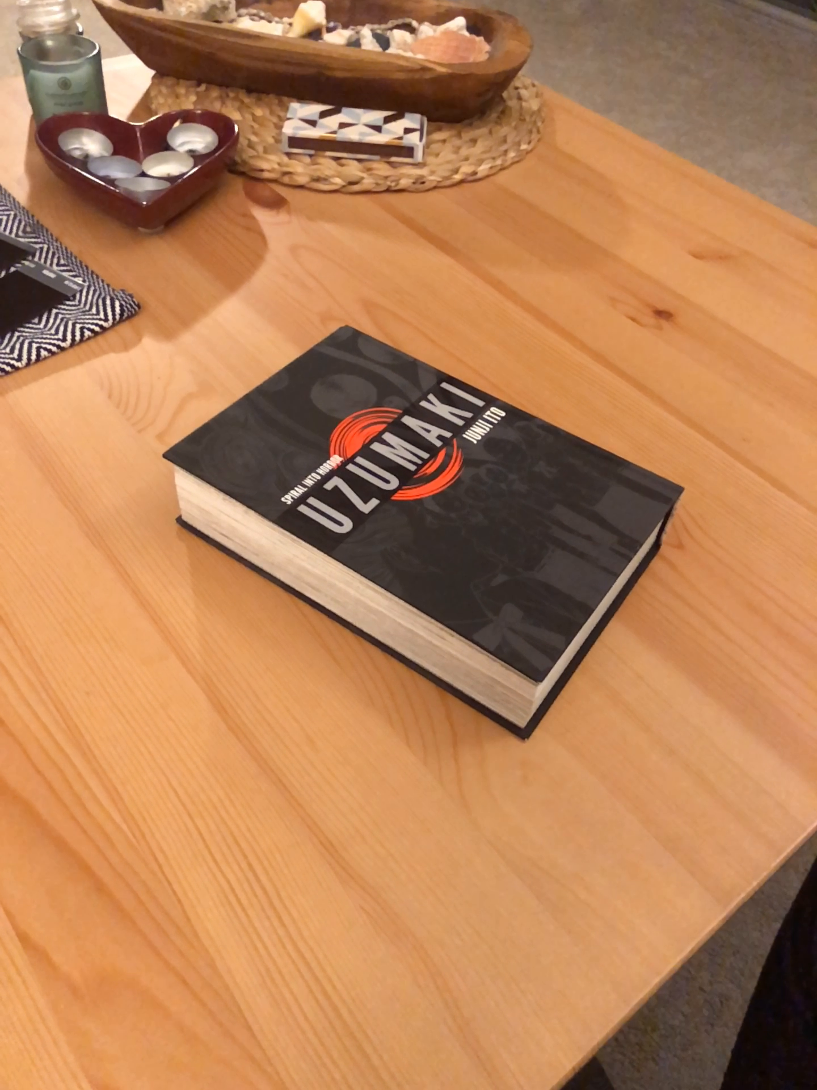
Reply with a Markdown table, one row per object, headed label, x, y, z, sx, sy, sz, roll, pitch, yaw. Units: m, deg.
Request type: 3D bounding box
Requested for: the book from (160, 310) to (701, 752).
| label | x | y | z | sx | sy | sz | roll | pitch | yaw |
| --- | --- | --- | --- | --- | --- | --- | --- | --- | --- |
| book | 0.012 | -0.022 | 0.443 | 0.204 | 0.048 | 0.157 | 30 | 52 | 19 |
